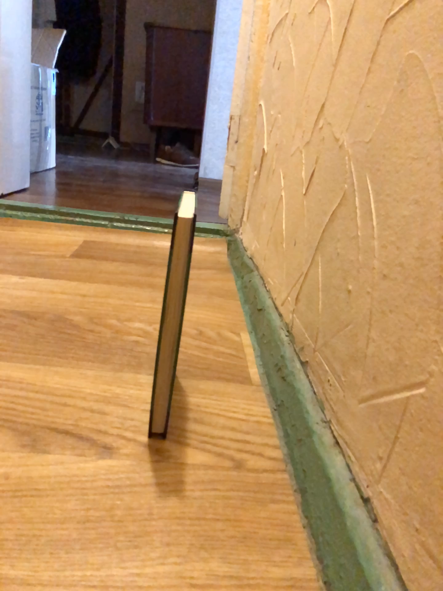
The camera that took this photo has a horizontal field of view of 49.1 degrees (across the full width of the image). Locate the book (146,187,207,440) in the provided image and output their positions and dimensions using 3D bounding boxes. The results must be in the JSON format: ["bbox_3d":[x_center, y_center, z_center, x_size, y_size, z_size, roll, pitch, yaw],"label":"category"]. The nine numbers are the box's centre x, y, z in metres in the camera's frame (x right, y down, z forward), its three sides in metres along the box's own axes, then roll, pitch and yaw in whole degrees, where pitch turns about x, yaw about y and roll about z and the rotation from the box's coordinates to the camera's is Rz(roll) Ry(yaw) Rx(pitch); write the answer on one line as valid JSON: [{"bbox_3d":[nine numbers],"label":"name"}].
[{"bbox_3d":[-0.040,0.007,0.458,0.024,0.197,0.148,8,18,-4],"label":"book"}]
